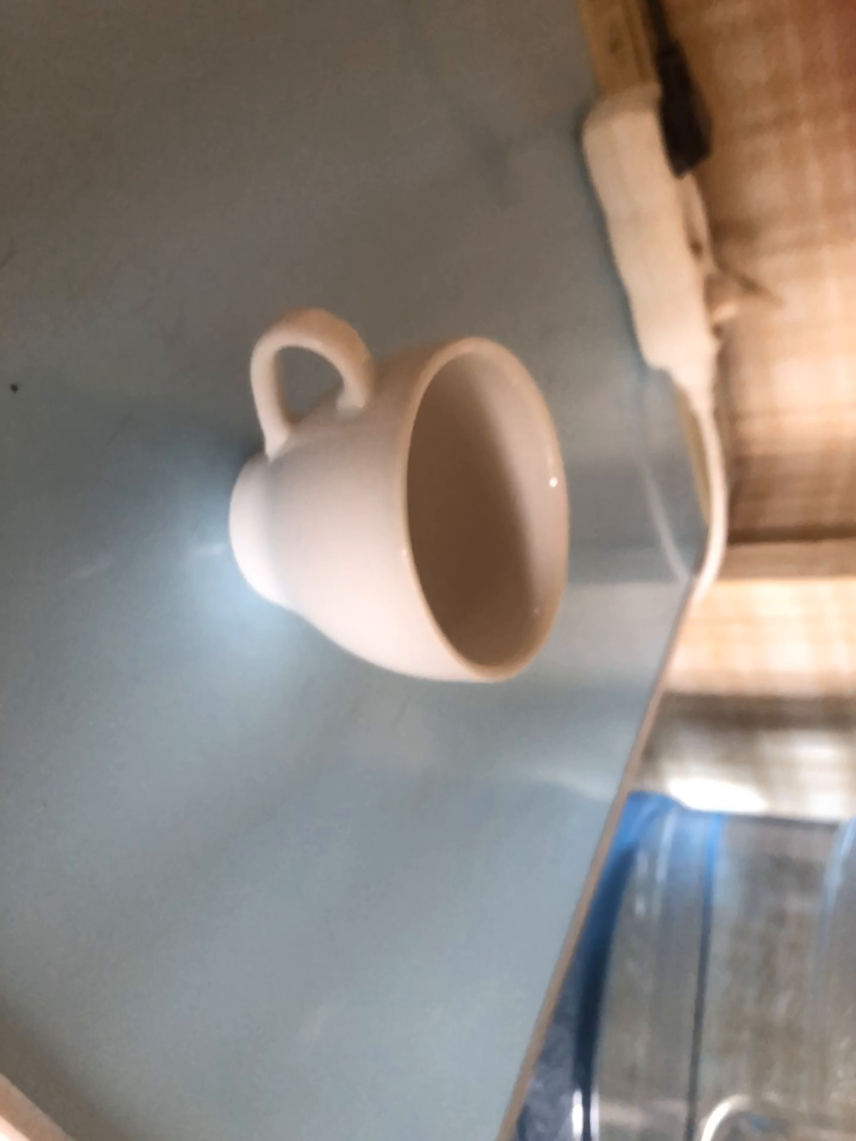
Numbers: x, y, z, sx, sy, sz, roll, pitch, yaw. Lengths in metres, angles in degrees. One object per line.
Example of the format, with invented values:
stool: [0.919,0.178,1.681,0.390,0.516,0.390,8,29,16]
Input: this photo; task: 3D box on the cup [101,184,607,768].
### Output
cup: [-0.007,-0.018,0.250,0.107,0.057,0.097,50,48,-44]
